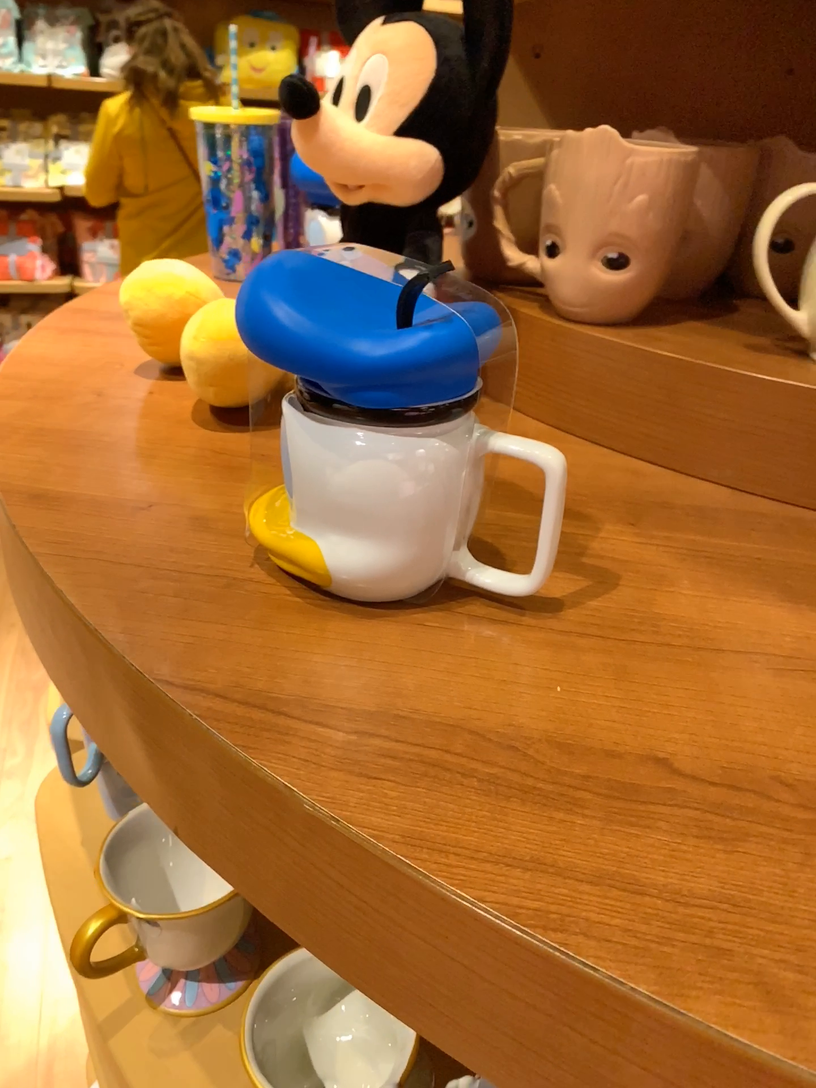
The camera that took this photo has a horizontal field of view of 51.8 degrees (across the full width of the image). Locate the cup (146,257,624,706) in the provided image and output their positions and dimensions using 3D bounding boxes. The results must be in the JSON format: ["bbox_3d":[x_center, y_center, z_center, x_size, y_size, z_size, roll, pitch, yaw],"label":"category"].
[{"bbox_3d":[-0.006,-0.038,0.348,0.150,0.132,0.106,13,29,25],"label":"cup"}]
